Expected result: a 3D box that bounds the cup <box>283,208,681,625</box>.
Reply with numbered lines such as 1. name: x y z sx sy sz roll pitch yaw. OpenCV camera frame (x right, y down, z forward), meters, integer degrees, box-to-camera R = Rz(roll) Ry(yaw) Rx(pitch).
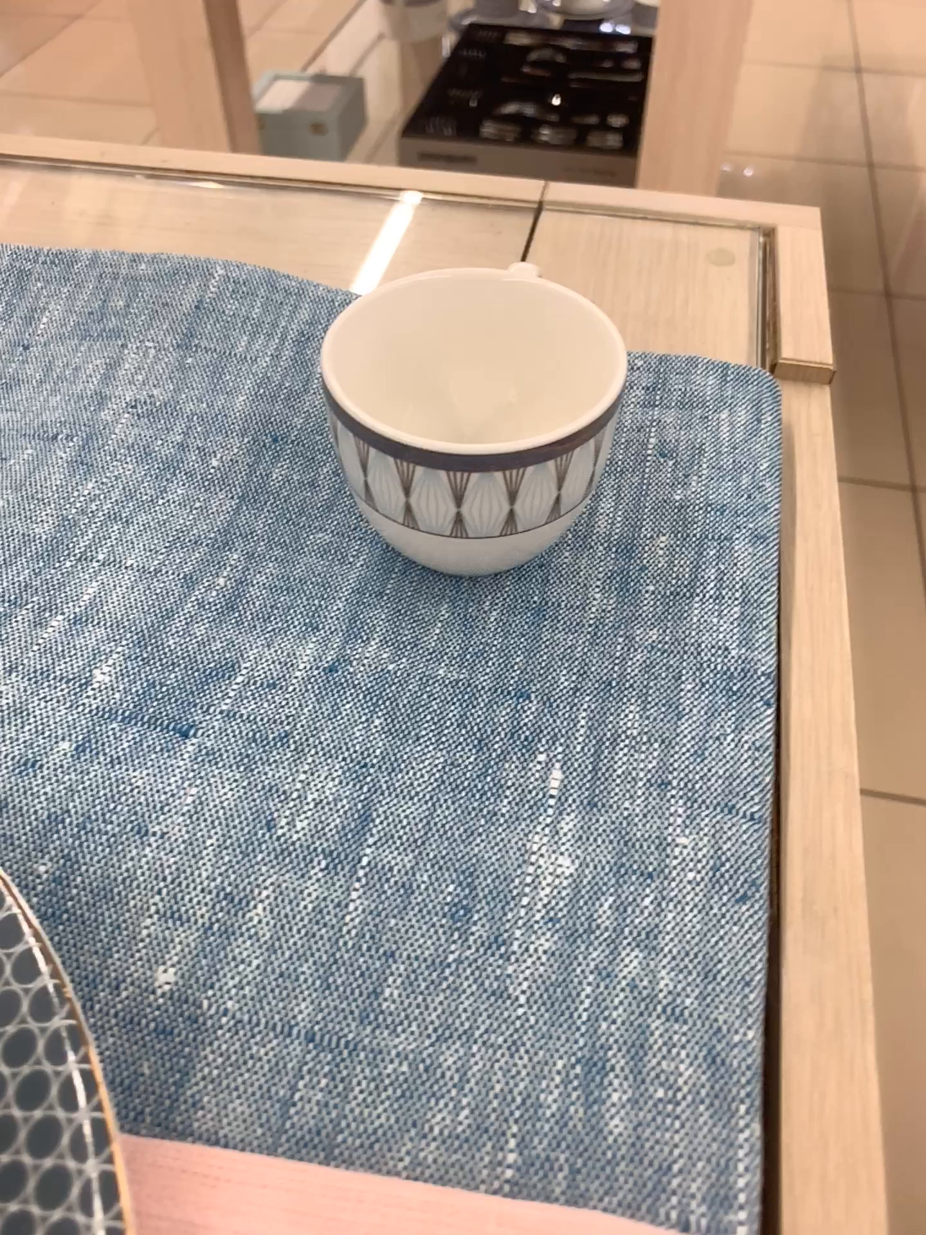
1. cup: 0.009 -0.049 0.218 0.070 0.040 0.090 7 49 7
